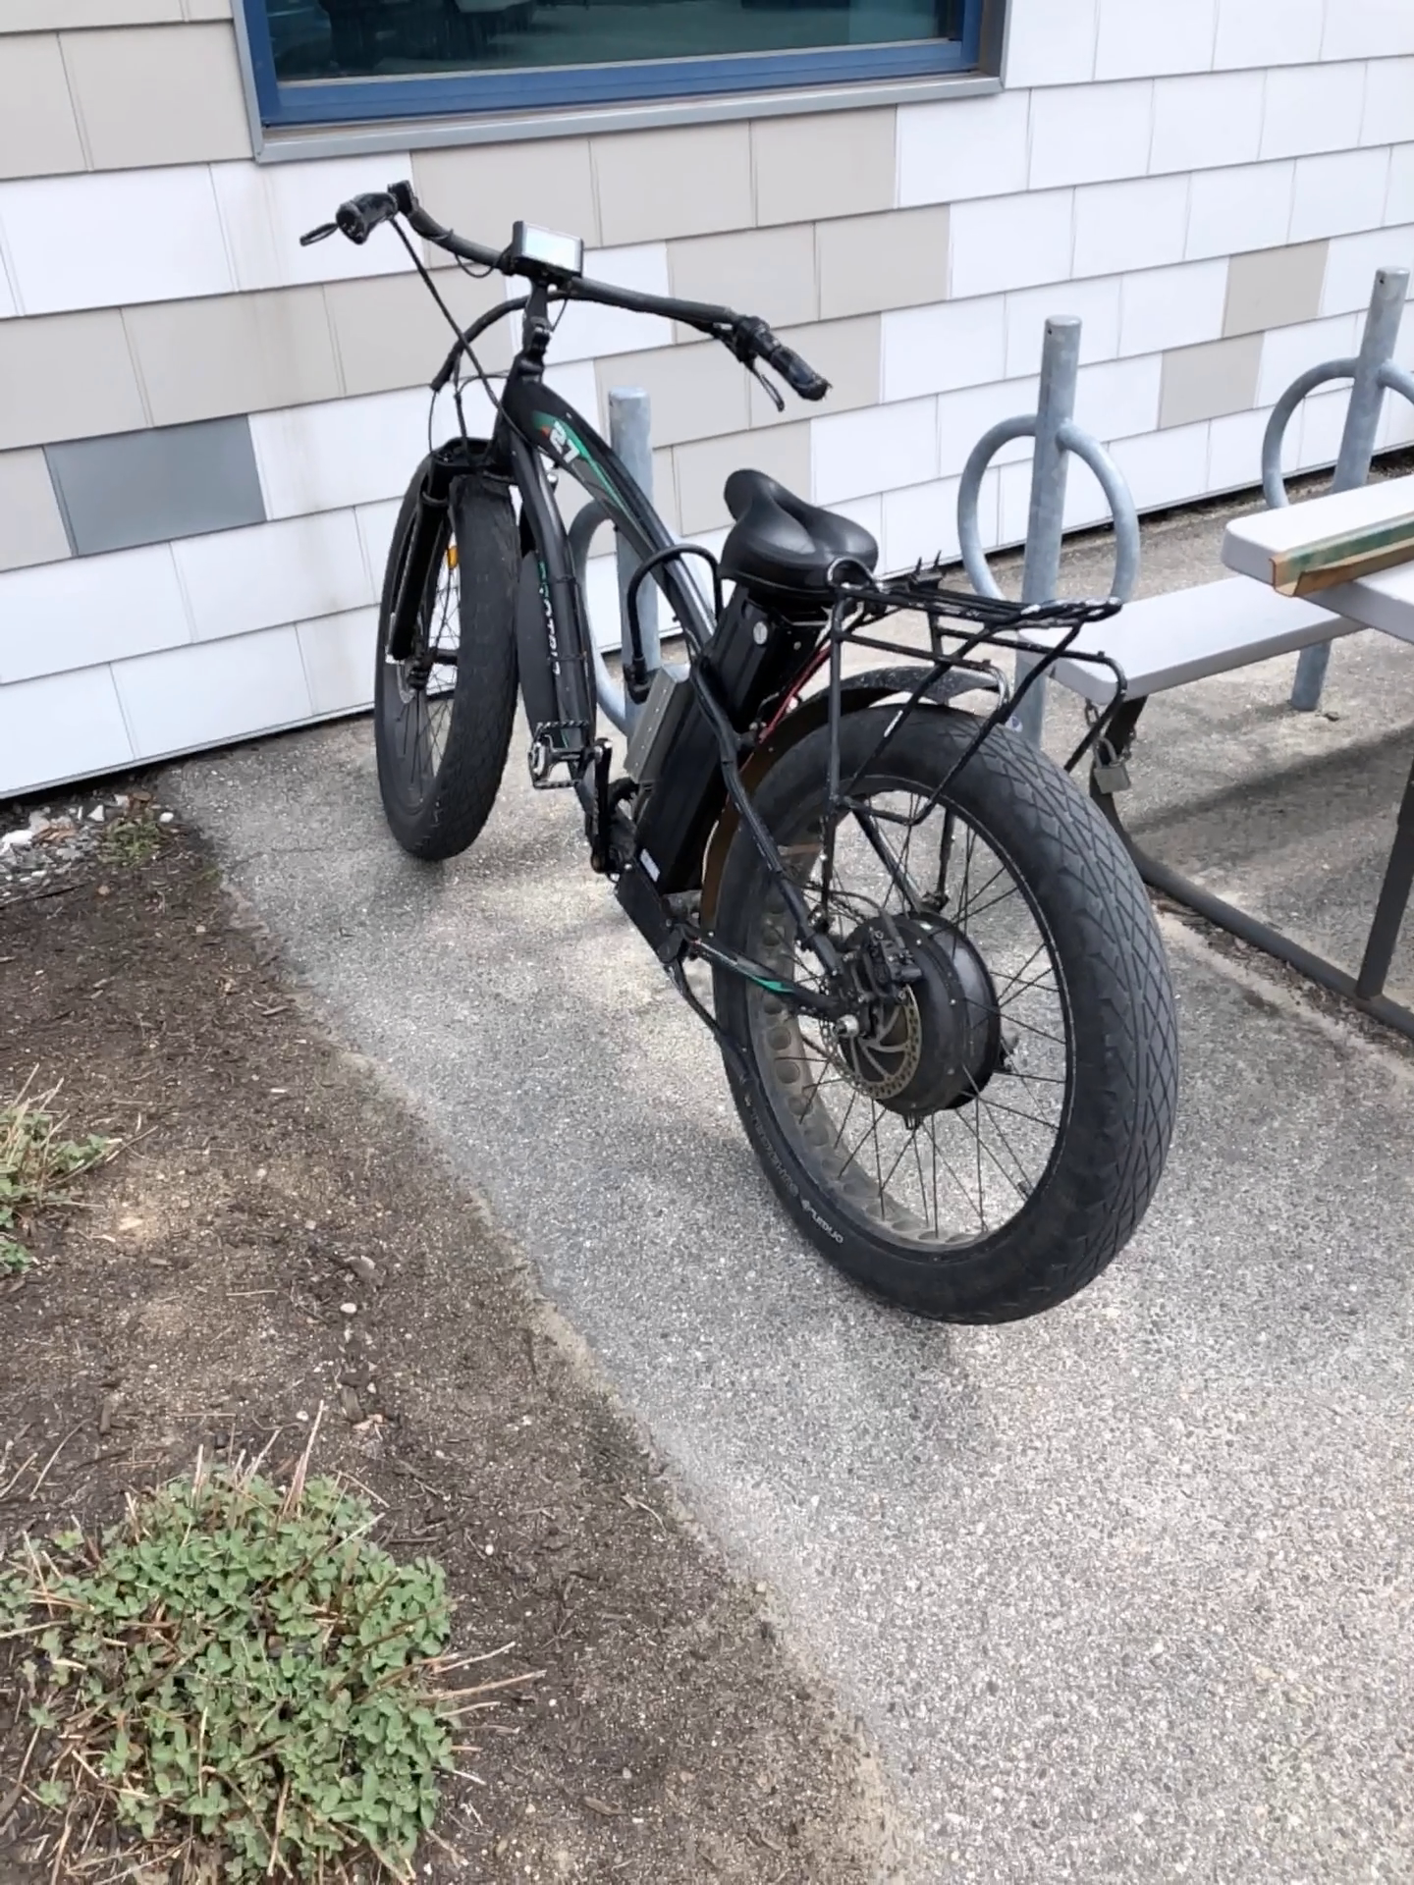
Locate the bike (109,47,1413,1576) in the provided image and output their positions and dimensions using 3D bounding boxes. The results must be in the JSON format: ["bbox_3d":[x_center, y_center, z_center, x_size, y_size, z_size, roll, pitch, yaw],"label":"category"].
[{"bbox_3d":[0.020,-0.433,2.122,0.913,1.132,1.866,-20,41,-25],"label":"bike"}]
